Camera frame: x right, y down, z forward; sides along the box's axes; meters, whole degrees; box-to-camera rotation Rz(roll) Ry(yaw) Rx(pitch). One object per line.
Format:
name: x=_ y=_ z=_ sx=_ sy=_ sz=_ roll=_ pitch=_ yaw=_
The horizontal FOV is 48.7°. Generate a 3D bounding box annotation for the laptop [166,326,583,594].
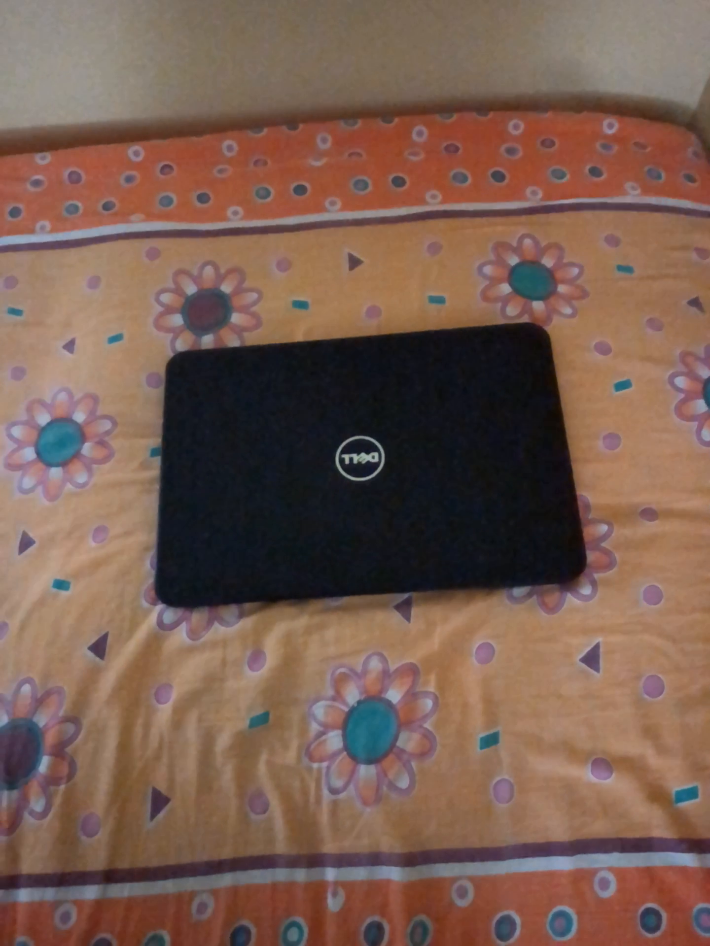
laptop: x=0.006 y=-0.018 z=0.714 sx=0.358 sy=0.001 sz=0.236 roll=-5 pitch=69 yaw=3
